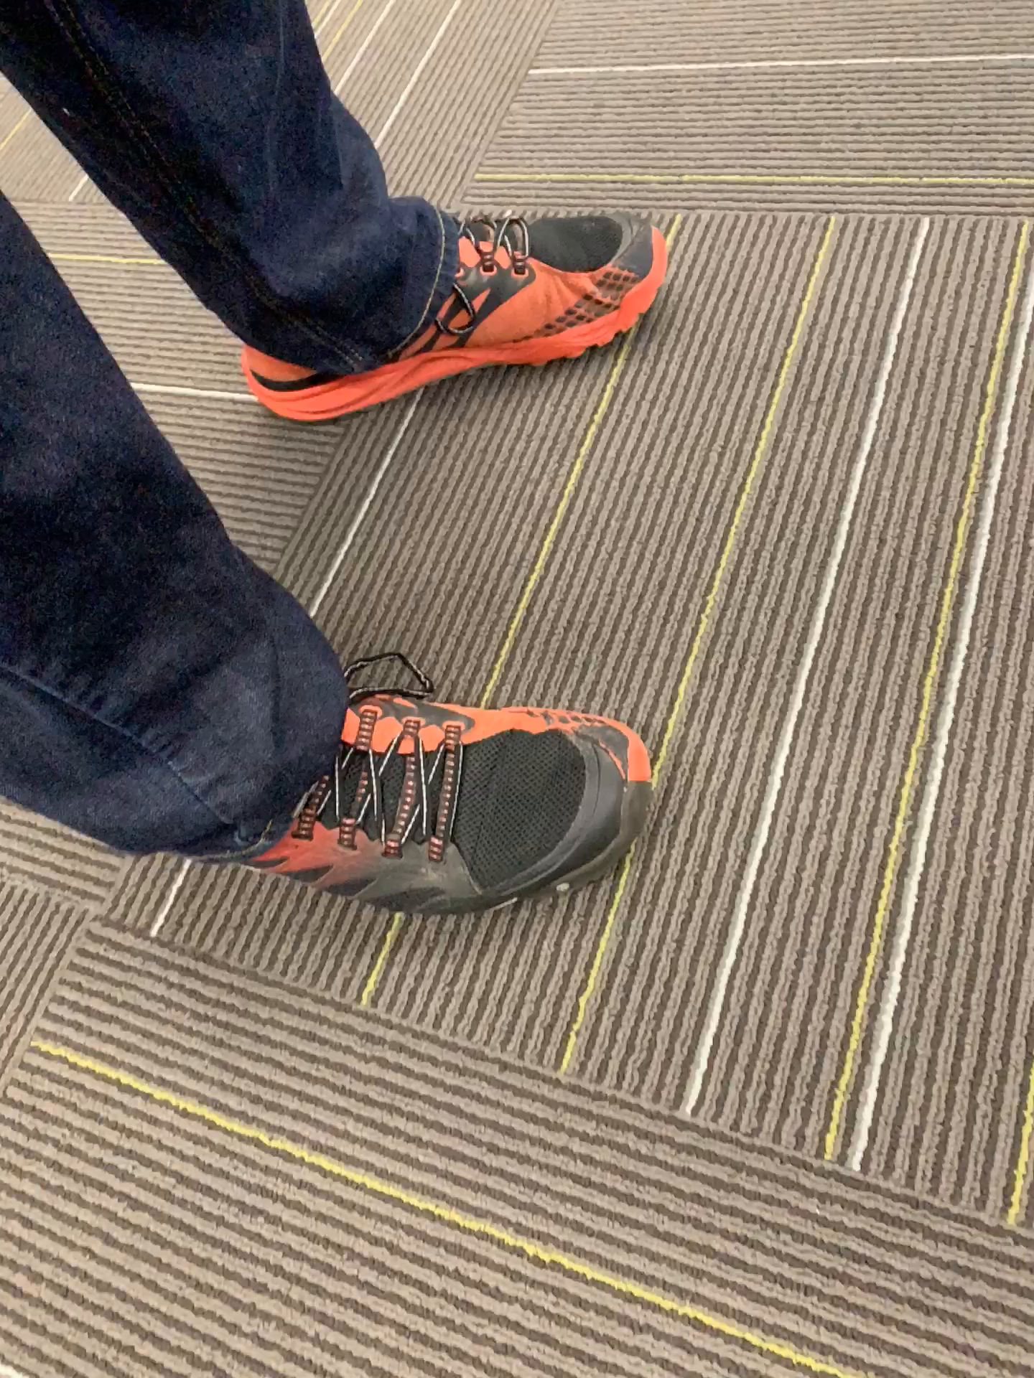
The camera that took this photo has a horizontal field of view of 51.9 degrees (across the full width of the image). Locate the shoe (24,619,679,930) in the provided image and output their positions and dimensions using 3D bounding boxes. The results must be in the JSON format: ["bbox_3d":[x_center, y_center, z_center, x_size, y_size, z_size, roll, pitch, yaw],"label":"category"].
[{"bbox_3d":[-0.081,0.050,0.588,0.321,0.119,0.120,-1,61,16],"label":"shoe"}]

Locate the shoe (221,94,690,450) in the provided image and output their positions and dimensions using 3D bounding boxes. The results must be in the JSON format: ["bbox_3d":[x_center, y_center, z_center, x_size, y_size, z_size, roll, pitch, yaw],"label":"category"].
[{"bbox_3d":[-0.045,-0.288,0.748,0.300,0.100,0.130,-13,58,9],"label":"shoe"}]
